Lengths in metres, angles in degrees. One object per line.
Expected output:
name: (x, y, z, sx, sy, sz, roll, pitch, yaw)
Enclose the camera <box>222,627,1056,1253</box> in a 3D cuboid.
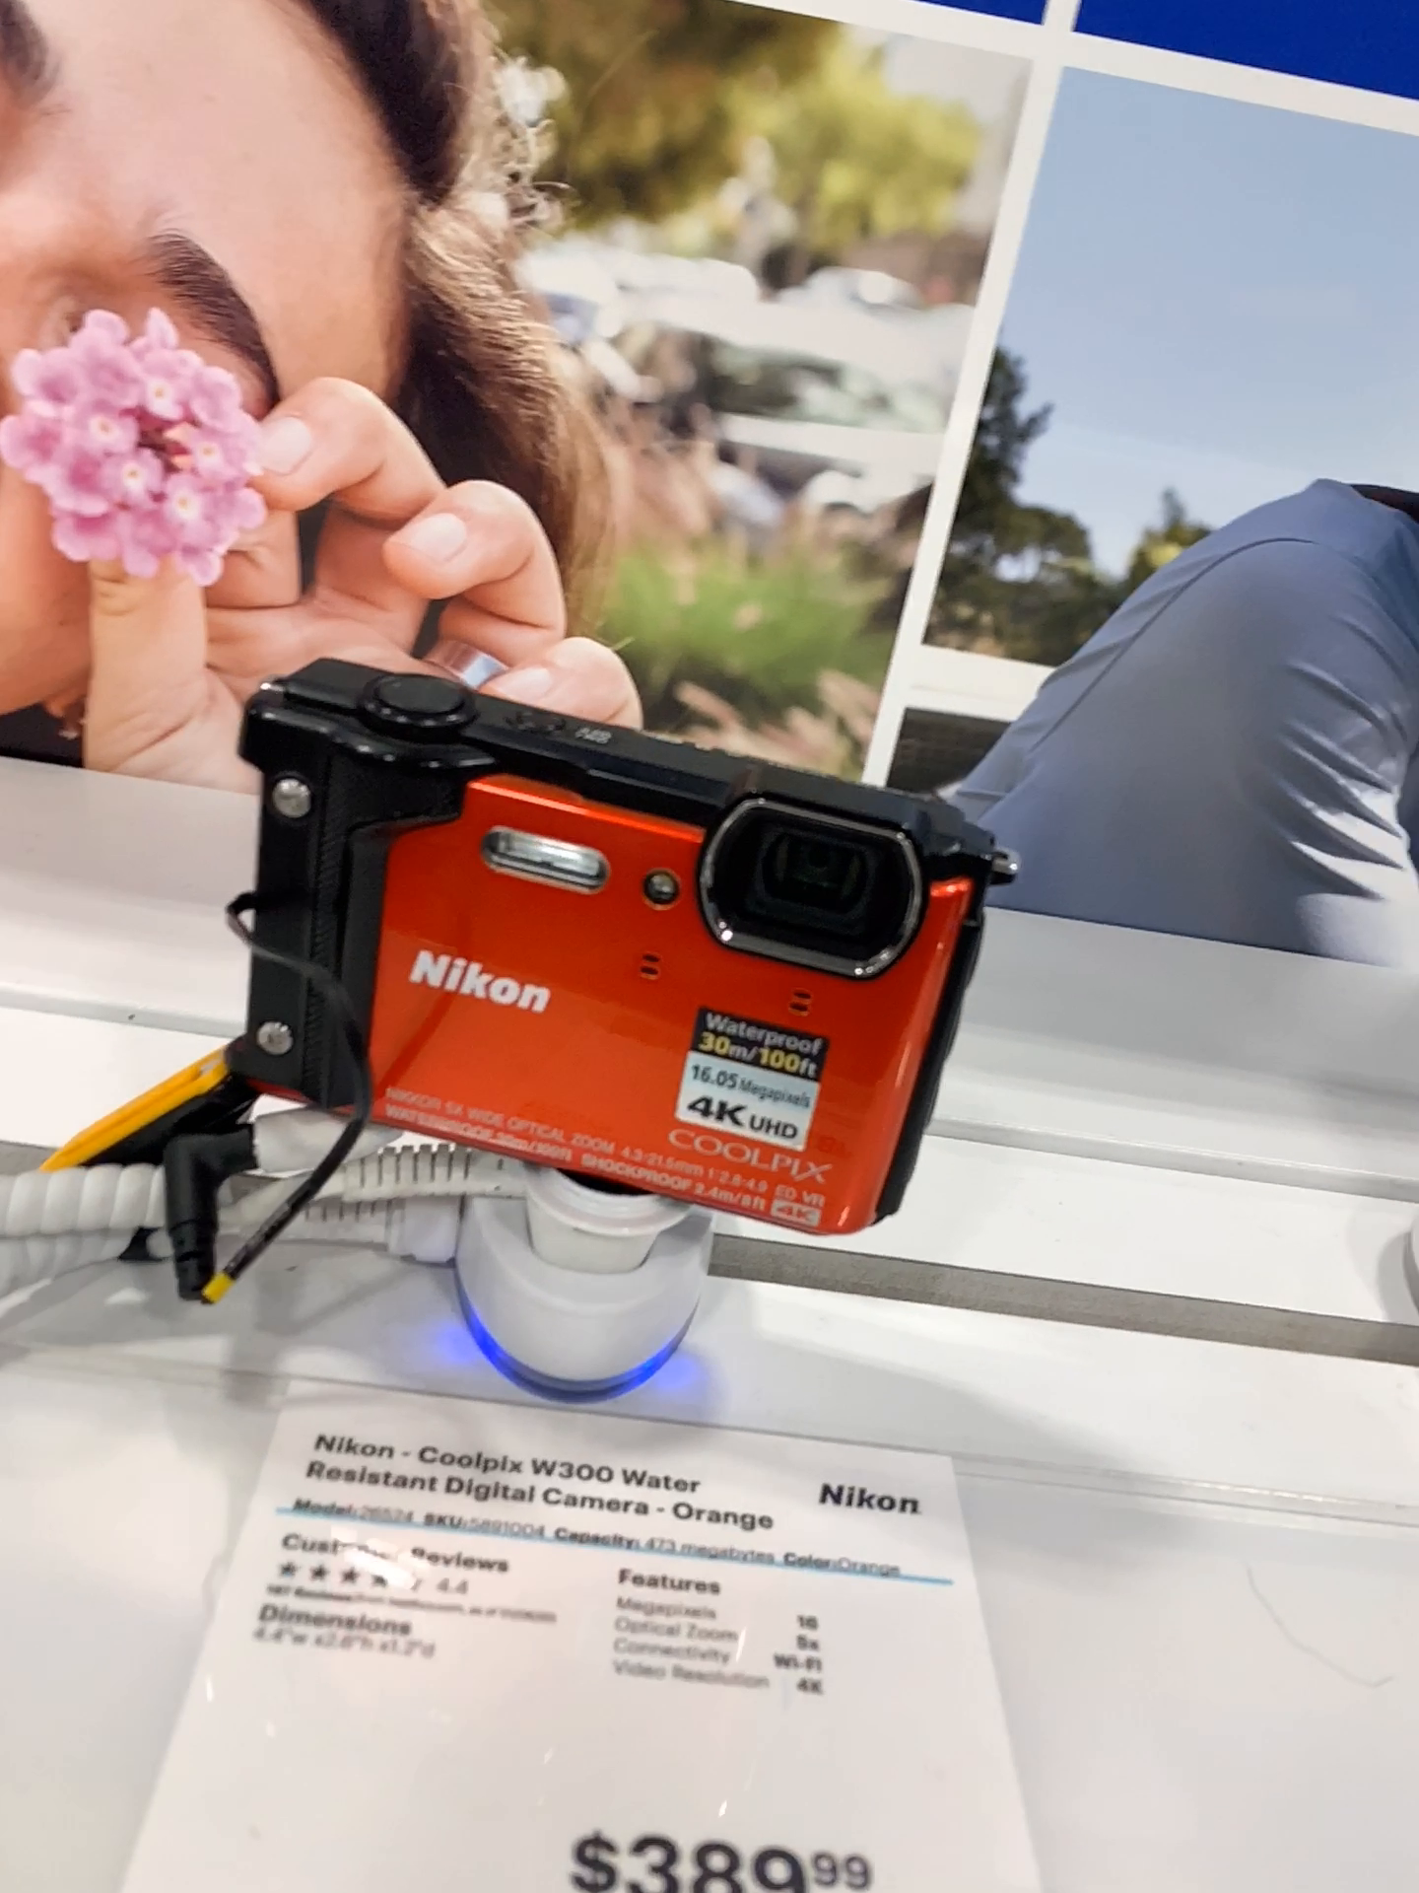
camera: (-0.012, -0.001, 0.210, 0.105, 0.063, 0.025, 13, 25, 1)
